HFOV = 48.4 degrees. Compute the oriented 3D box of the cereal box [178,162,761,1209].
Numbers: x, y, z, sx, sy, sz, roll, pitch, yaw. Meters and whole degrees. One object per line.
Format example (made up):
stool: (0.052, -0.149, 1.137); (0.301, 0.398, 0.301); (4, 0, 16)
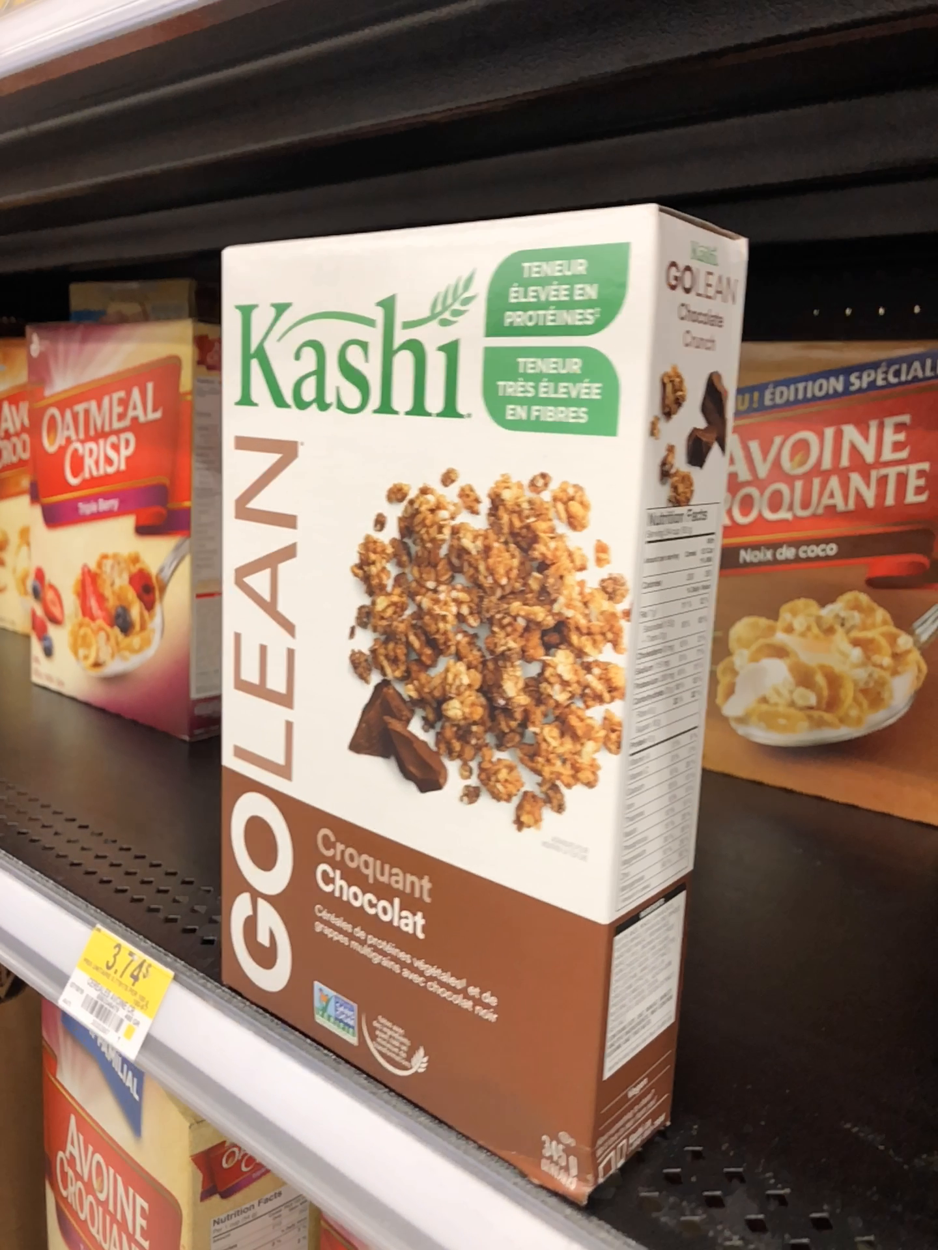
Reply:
cereal box: (-0.013, 0.009, 0.313); (0.170, 0.249, 0.050); (11, 15, 39)
